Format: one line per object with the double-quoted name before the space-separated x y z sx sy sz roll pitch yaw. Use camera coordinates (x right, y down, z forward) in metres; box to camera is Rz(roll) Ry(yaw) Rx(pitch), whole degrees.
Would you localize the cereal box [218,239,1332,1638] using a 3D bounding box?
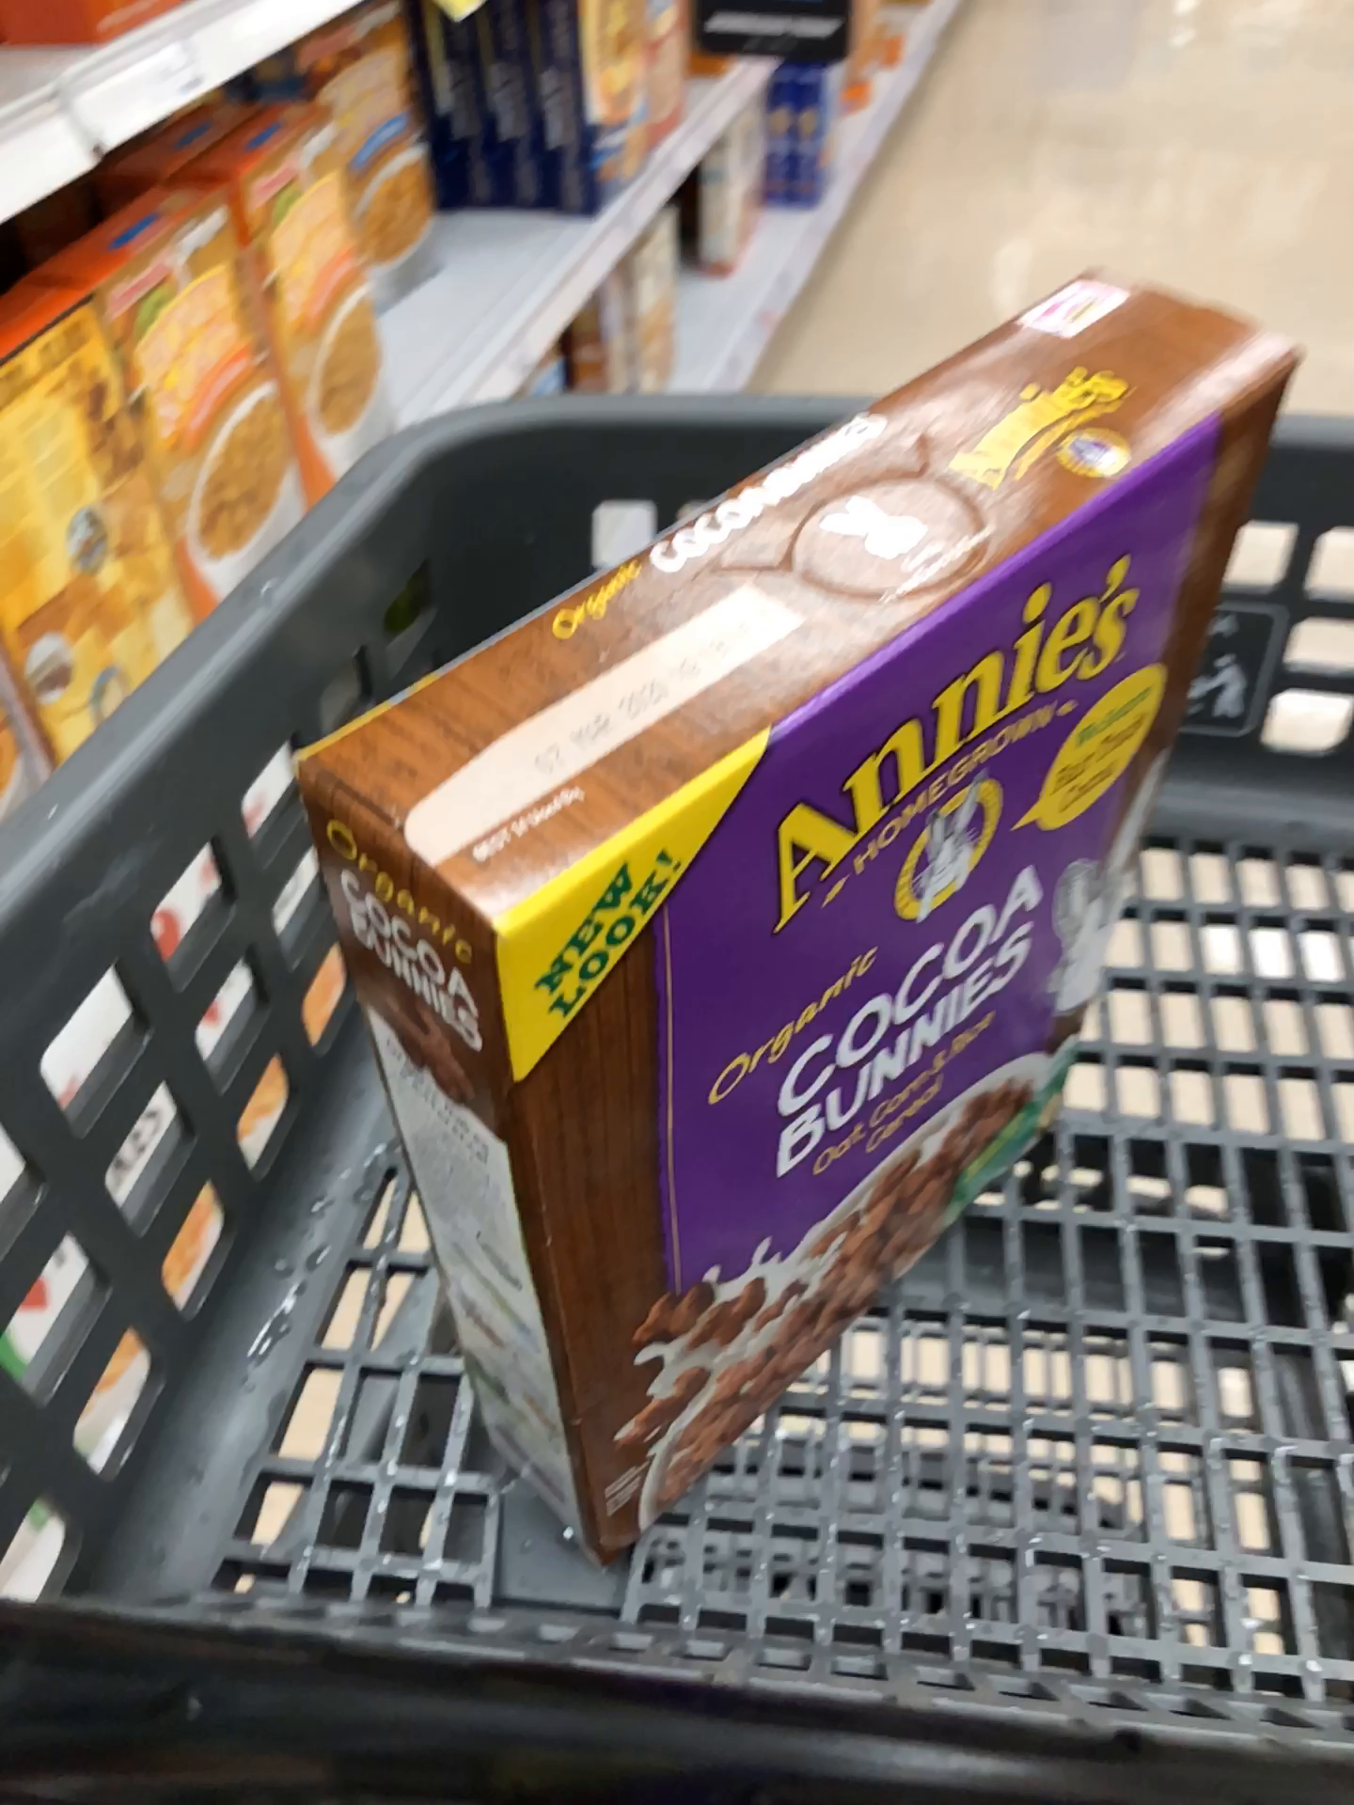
"cereal box" 0.032 0.020 0.318 0.050 0.239 0.200 34 57 30
